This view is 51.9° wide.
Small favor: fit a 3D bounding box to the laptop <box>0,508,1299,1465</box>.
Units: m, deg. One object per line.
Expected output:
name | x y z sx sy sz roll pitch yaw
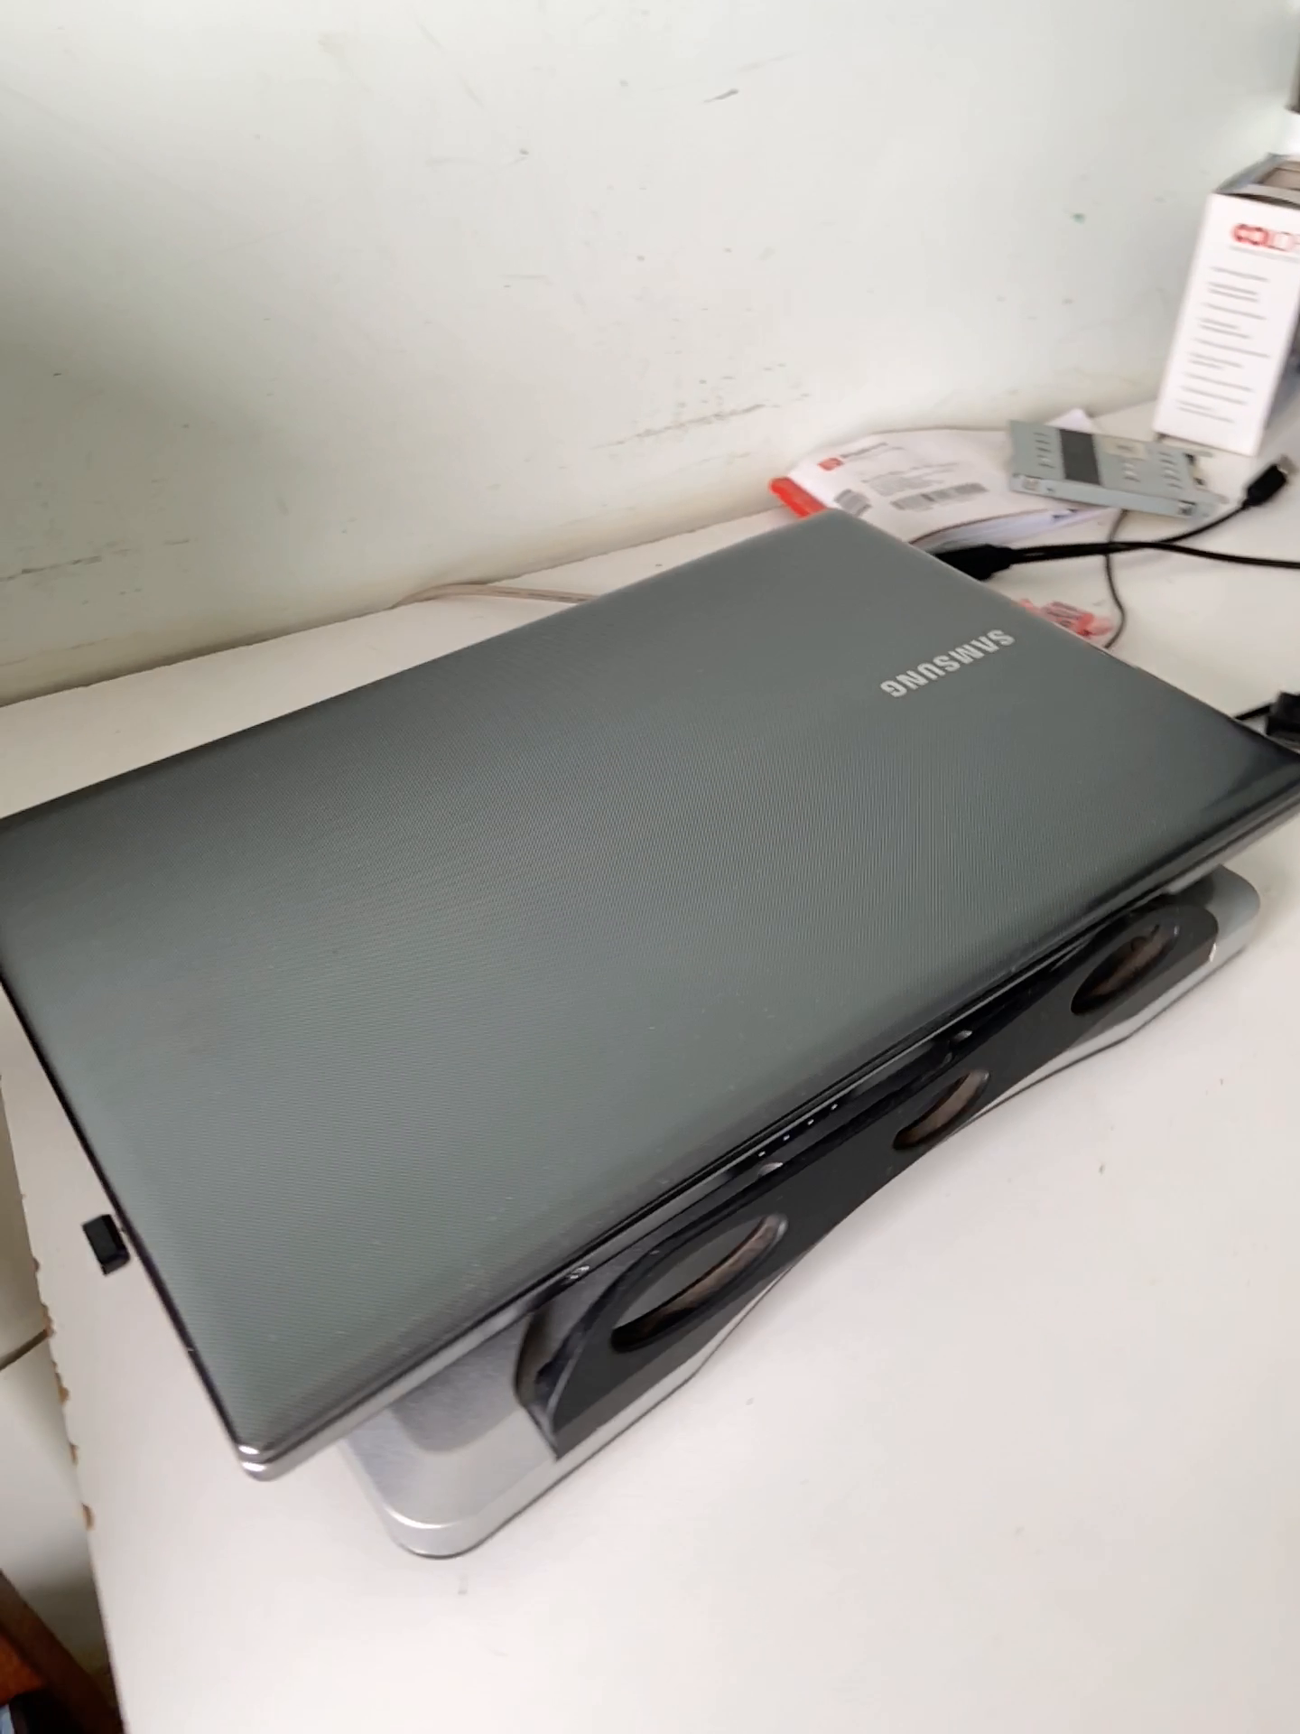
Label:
laptop | 0.001 -0.017 0.427 0.374 0.005 0.237 -27 47 -26
